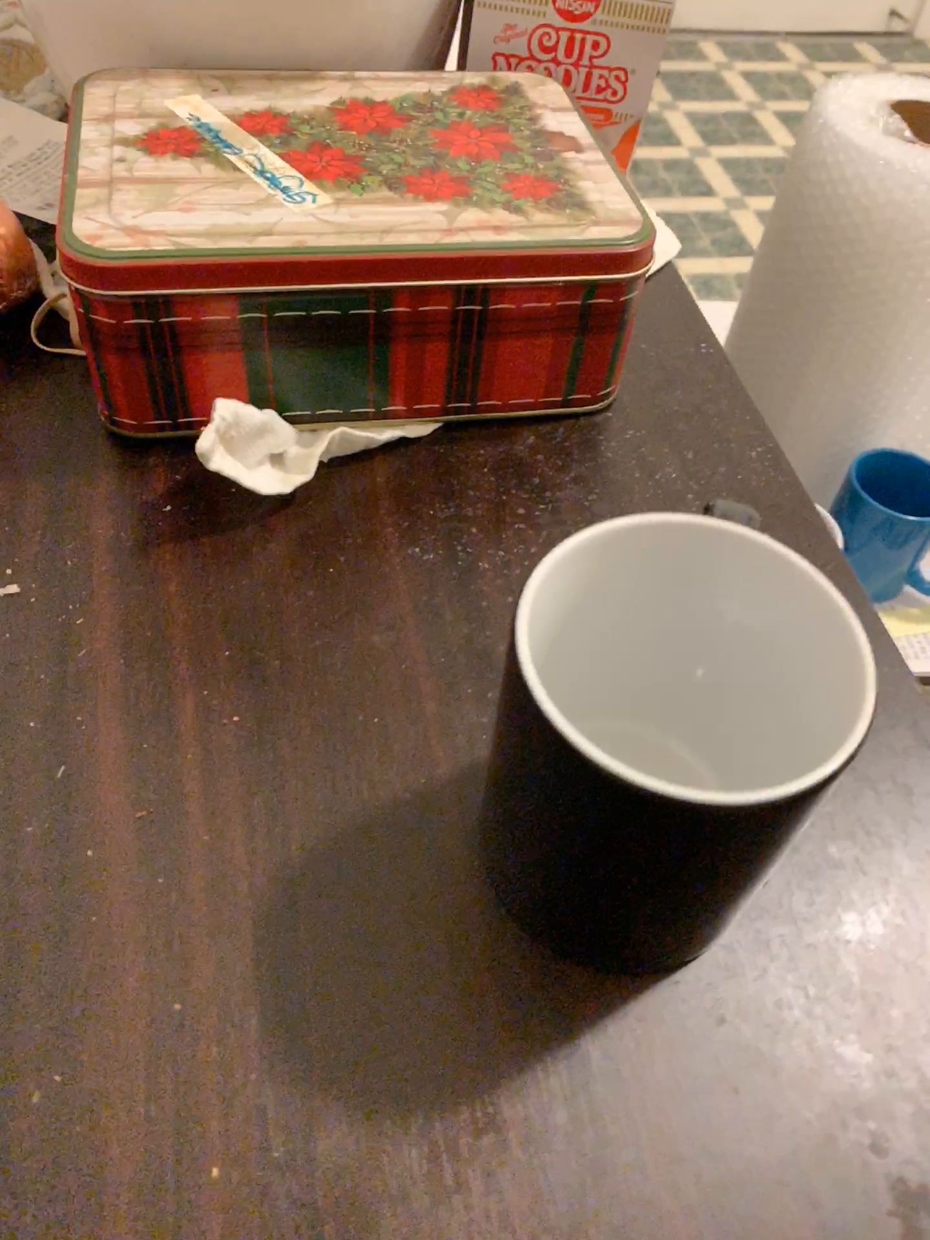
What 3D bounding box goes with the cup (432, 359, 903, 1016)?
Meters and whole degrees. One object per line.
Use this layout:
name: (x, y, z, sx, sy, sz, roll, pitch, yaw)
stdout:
cup: (0.055, 0.015, 0.265, 0.080, 0.099, 0.131, 19, 51, 10)
